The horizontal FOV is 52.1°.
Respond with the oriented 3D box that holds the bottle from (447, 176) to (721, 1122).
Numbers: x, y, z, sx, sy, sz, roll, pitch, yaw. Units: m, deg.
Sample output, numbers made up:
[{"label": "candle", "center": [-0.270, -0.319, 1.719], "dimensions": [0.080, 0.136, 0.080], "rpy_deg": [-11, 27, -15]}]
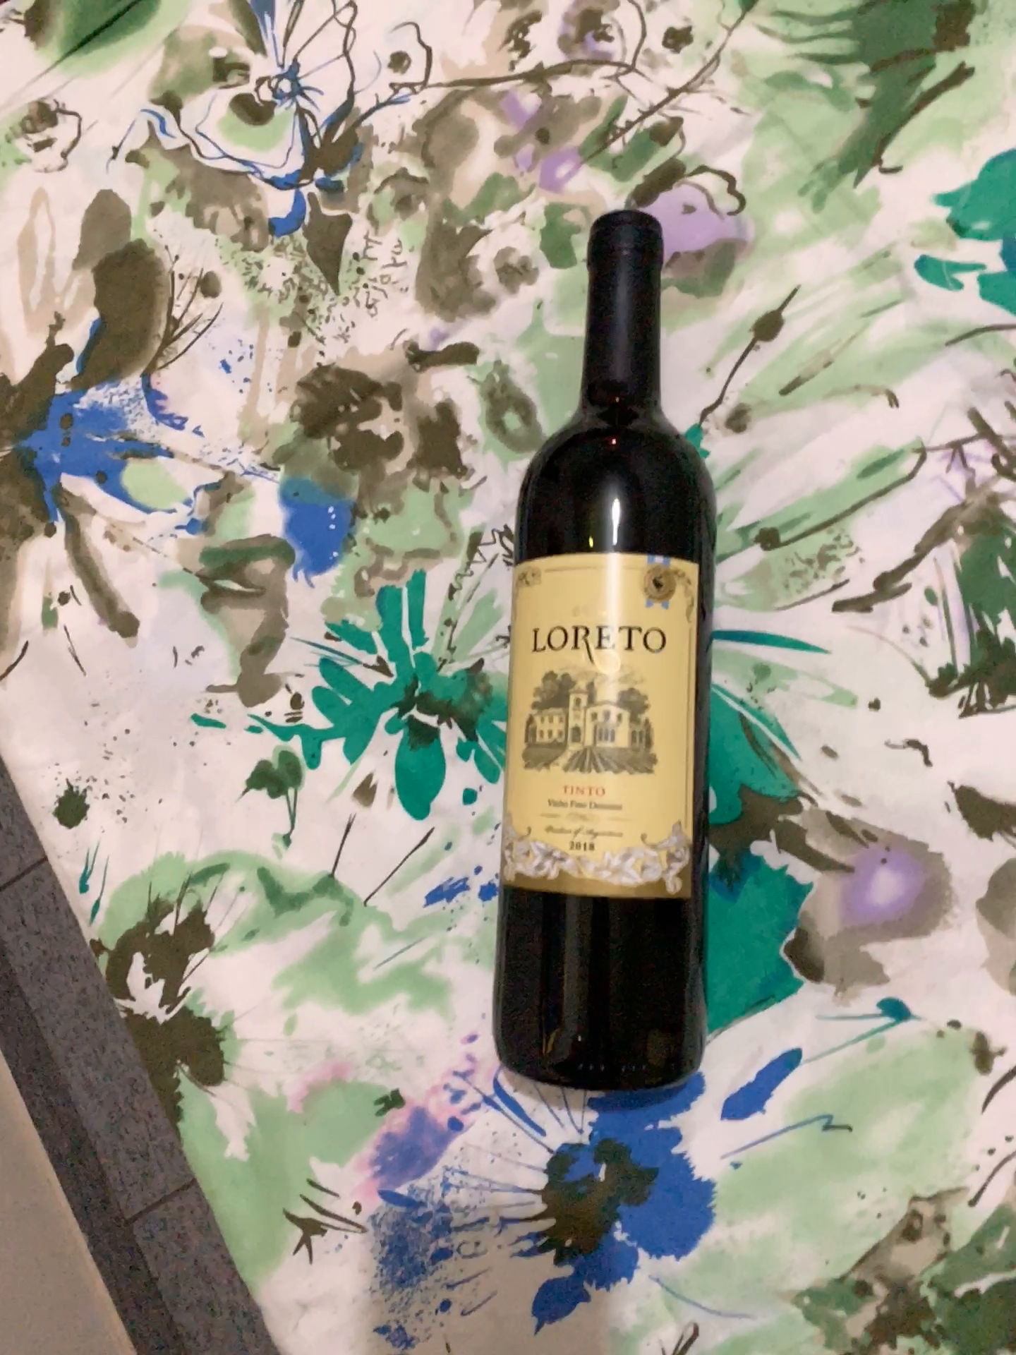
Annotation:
[{"label": "bottle", "center": [0.031, -0.014, 0.371], "dimensions": [0.080, 0.050, 0.310], "rpy_deg": [1, 85, 13]}]
